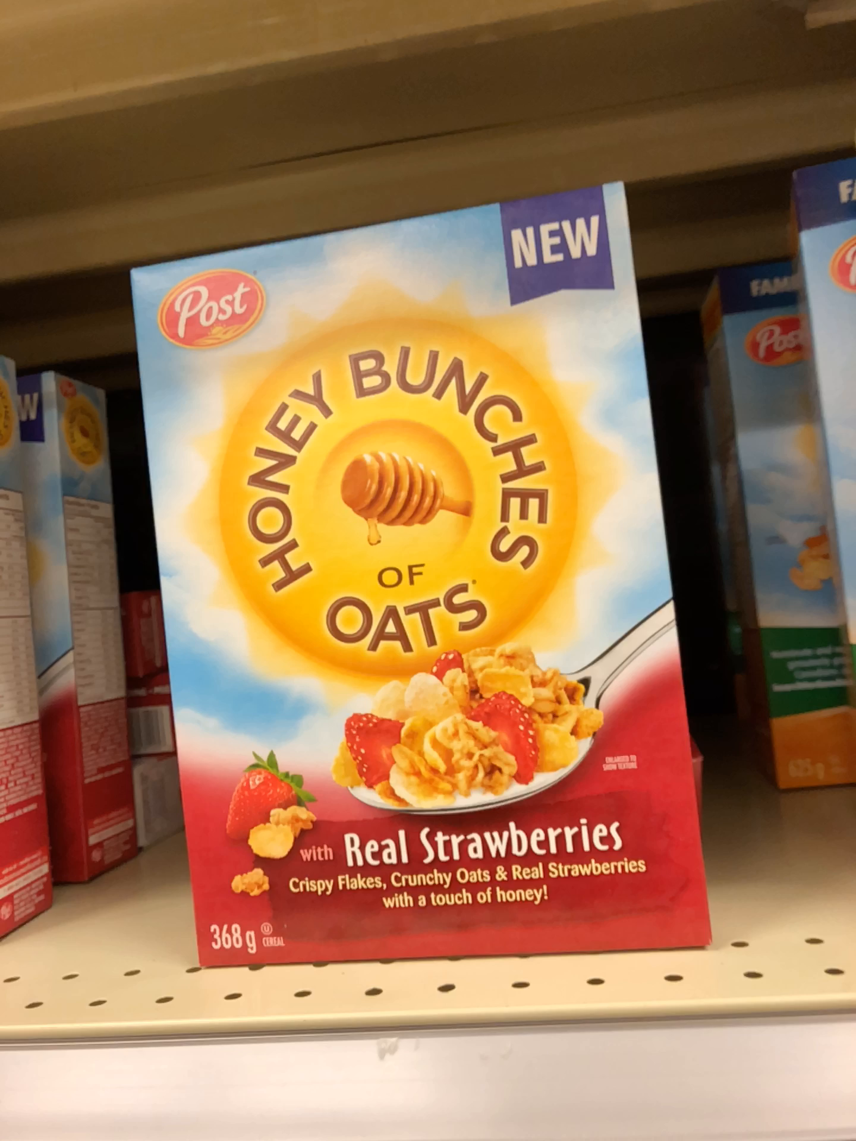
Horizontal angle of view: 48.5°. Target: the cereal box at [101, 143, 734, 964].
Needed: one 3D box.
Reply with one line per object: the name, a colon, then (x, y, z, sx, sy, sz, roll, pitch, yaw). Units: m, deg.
cereal box: (-0.007, 0.000, 0.360, 0.200, 0.270, 0.050, -6, -2, 10)
